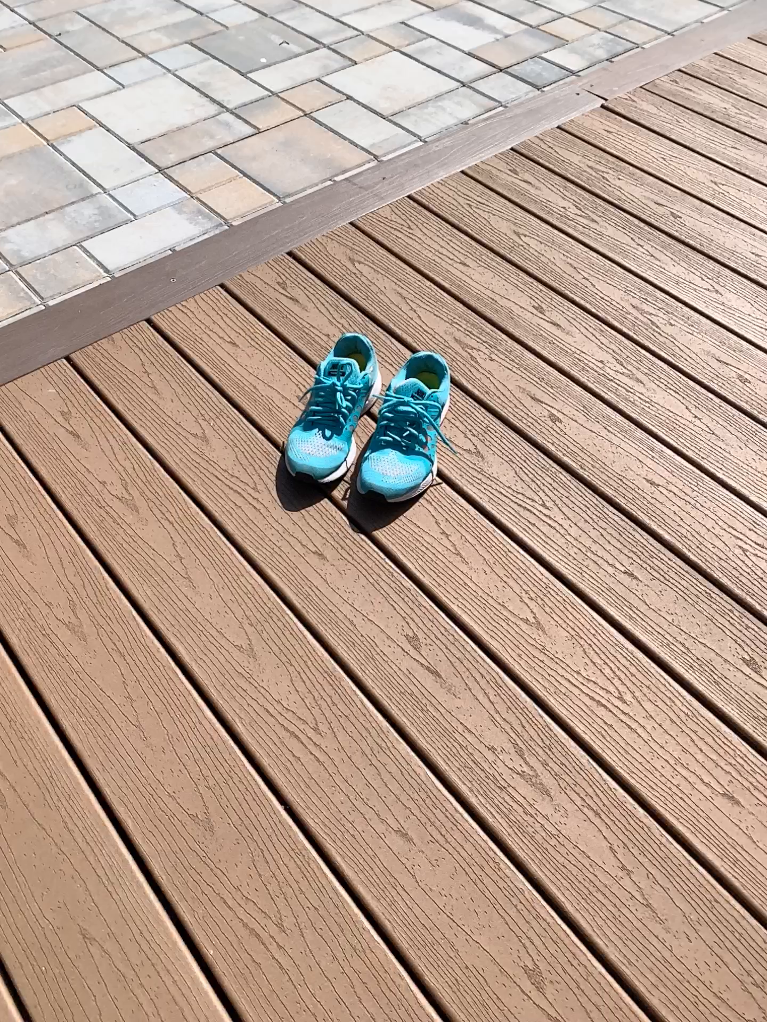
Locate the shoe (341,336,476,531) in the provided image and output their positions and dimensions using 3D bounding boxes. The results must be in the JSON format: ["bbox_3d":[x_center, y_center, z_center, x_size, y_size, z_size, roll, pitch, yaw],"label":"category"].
[{"bbox_3d":[0.038,-0.111,1.047,0.110,0.080,0.261,13,53,9],"label":"shoe"}]

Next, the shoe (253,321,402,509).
[{"bbox_3d":[-0.069,-0.139,1.076,0.110,0.080,0.261,16,54,11],"label":"shoe"}]
